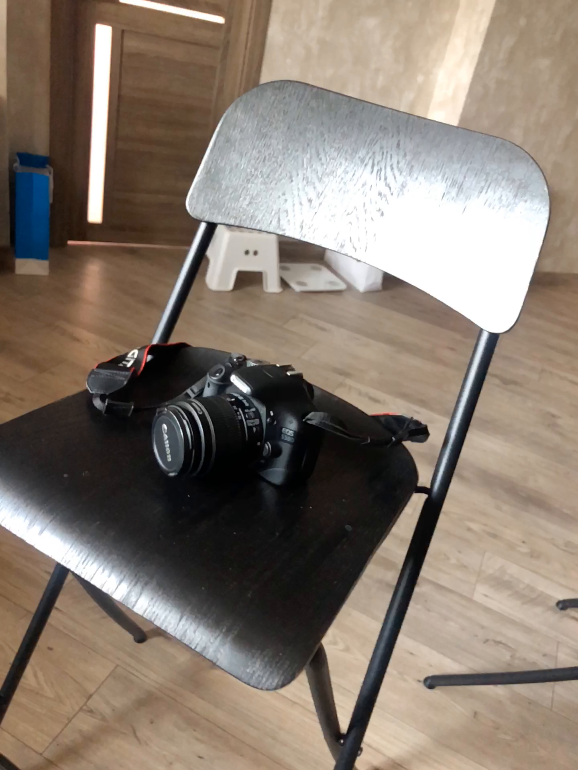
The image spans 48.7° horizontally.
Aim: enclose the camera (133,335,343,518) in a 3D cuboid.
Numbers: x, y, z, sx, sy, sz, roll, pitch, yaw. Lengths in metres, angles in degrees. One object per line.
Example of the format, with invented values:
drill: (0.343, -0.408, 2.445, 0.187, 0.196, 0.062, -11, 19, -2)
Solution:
camera: (-0.051, 0.031, 0.596, 0.141, 0.092, 0.121, -12, 38, -37)
